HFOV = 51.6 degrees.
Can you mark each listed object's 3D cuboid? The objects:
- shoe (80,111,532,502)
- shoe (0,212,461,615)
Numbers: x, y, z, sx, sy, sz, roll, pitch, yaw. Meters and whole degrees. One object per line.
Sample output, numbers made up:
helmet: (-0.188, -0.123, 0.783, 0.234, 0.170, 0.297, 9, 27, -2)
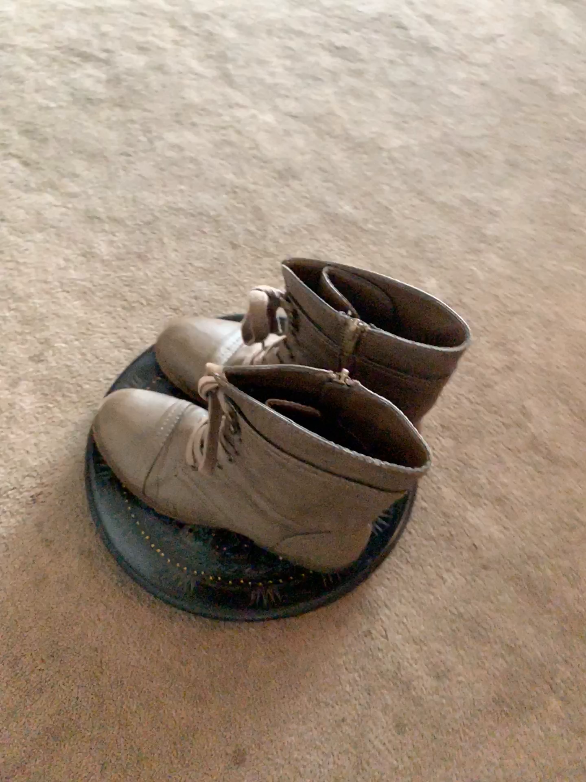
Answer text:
shoe: (0.000, -0.050, 0.469, 0.270, 0.199, 0.101, 28, 64, 8)
shoe: (-0.053, 0.032, 0.424, 0.260, 0.199, 0.101, 28, 64, 8)
